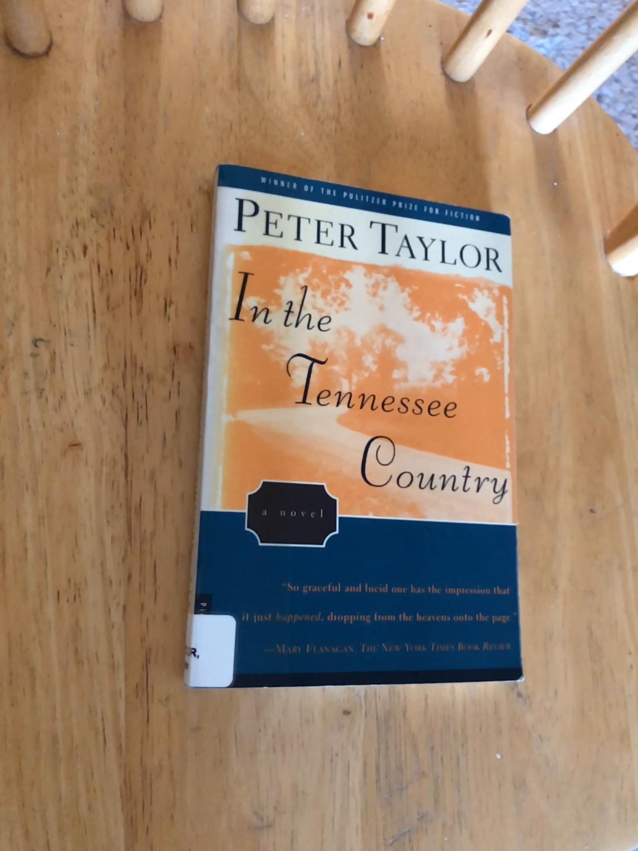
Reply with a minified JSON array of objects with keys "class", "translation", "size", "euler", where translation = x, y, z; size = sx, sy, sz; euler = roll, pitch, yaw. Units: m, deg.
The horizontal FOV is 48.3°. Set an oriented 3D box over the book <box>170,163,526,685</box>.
[{"class":"book","translation":[0.016,0.000,0.296],"size":[0.137,0.025,0.200],"euler":[5,78,-15]}]
